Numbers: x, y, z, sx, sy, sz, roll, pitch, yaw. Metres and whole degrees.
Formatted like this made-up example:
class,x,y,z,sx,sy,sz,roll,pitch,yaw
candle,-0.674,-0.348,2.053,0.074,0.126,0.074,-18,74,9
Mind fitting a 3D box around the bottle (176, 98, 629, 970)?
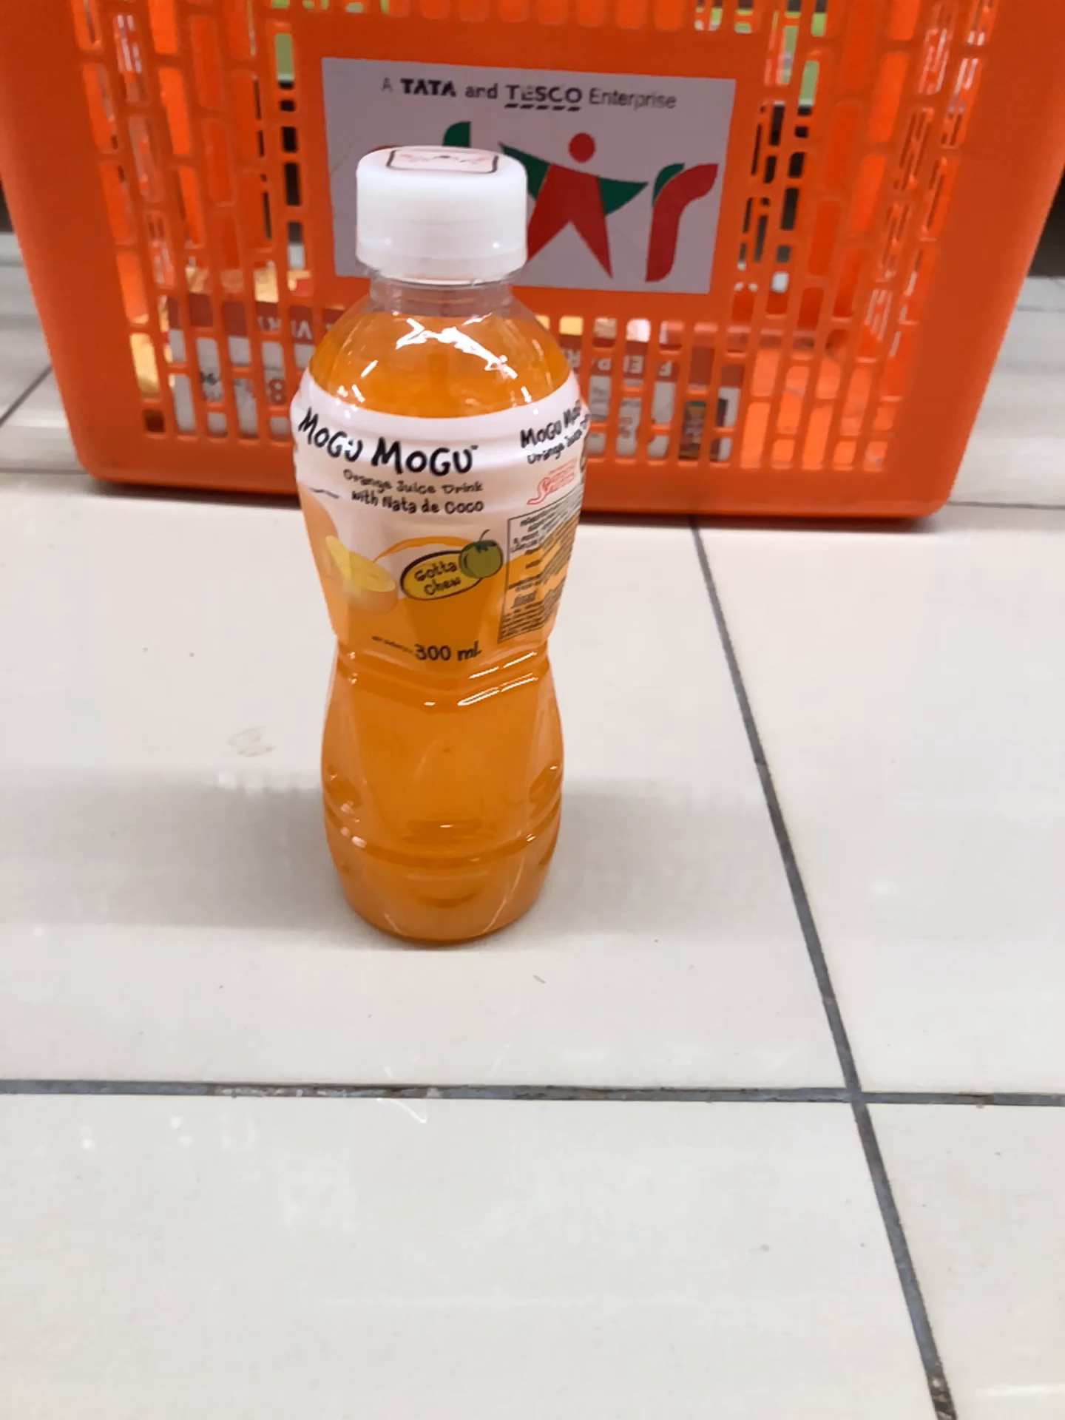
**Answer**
class,x,y,z,sx,sy,sz,roll,pitch,yaw
bottle,-0.021,-0.031,0.245,0.060,0.159,0.066,2,35,-1
